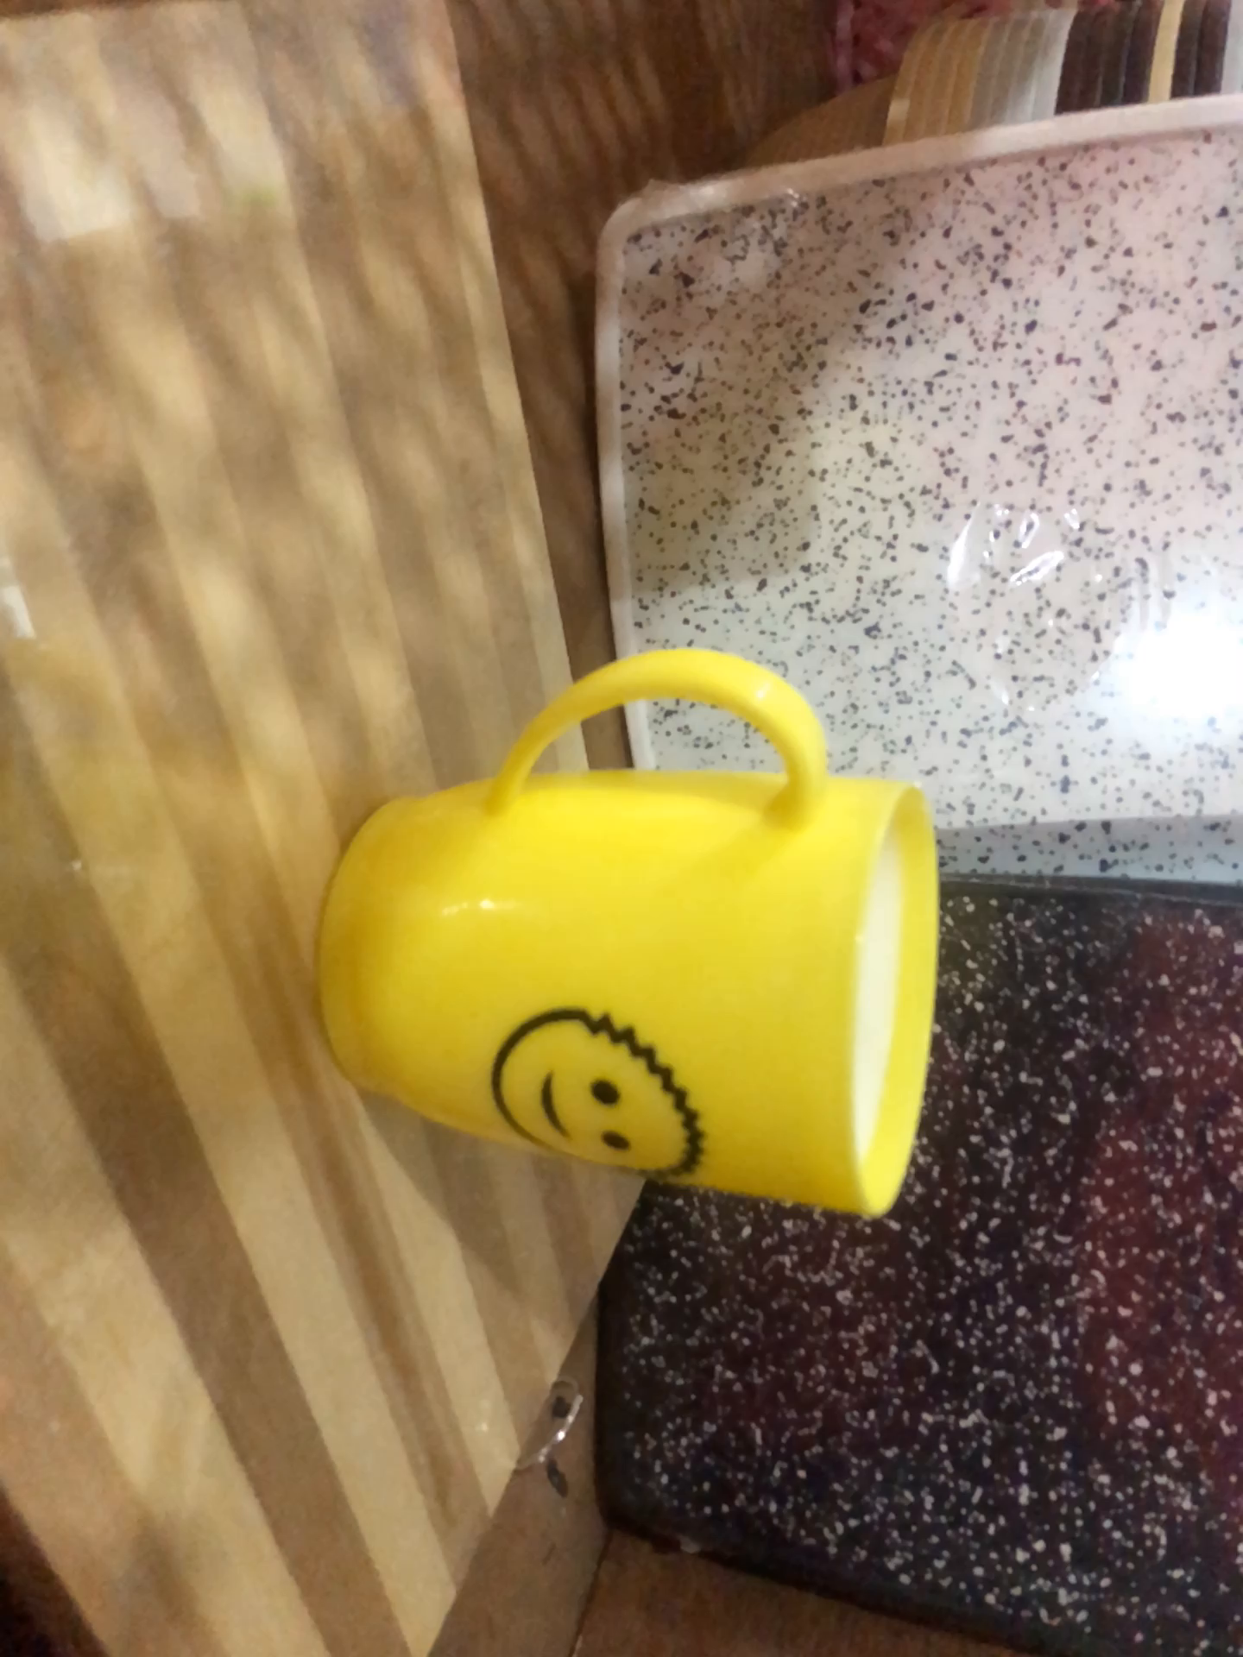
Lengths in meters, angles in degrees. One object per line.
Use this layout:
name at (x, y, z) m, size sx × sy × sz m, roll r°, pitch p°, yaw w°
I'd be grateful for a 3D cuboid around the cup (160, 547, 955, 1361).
cup at (0.000, 0.018, 0.247) m, size 0.080 × 0.099 × 0.110 m, roll -59°, pitch 145°, yaw -49°
